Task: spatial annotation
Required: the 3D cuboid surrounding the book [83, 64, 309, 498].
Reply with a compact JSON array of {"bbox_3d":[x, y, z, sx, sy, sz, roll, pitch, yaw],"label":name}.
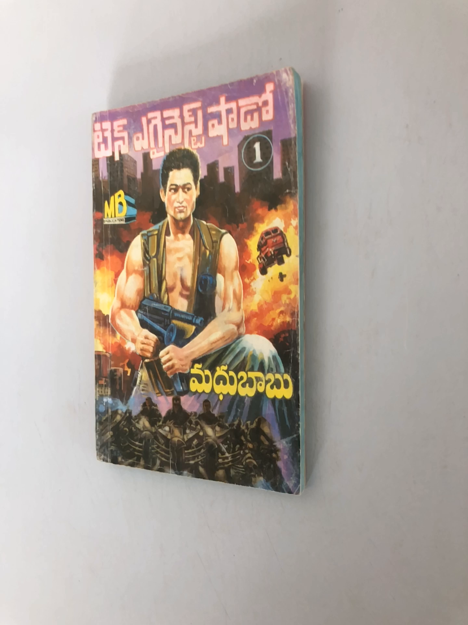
[{"bbox_3d":[-0.020,-0.011,0.211,0.100,0.010,0.151,-1,90,29],"label":"book"}]
